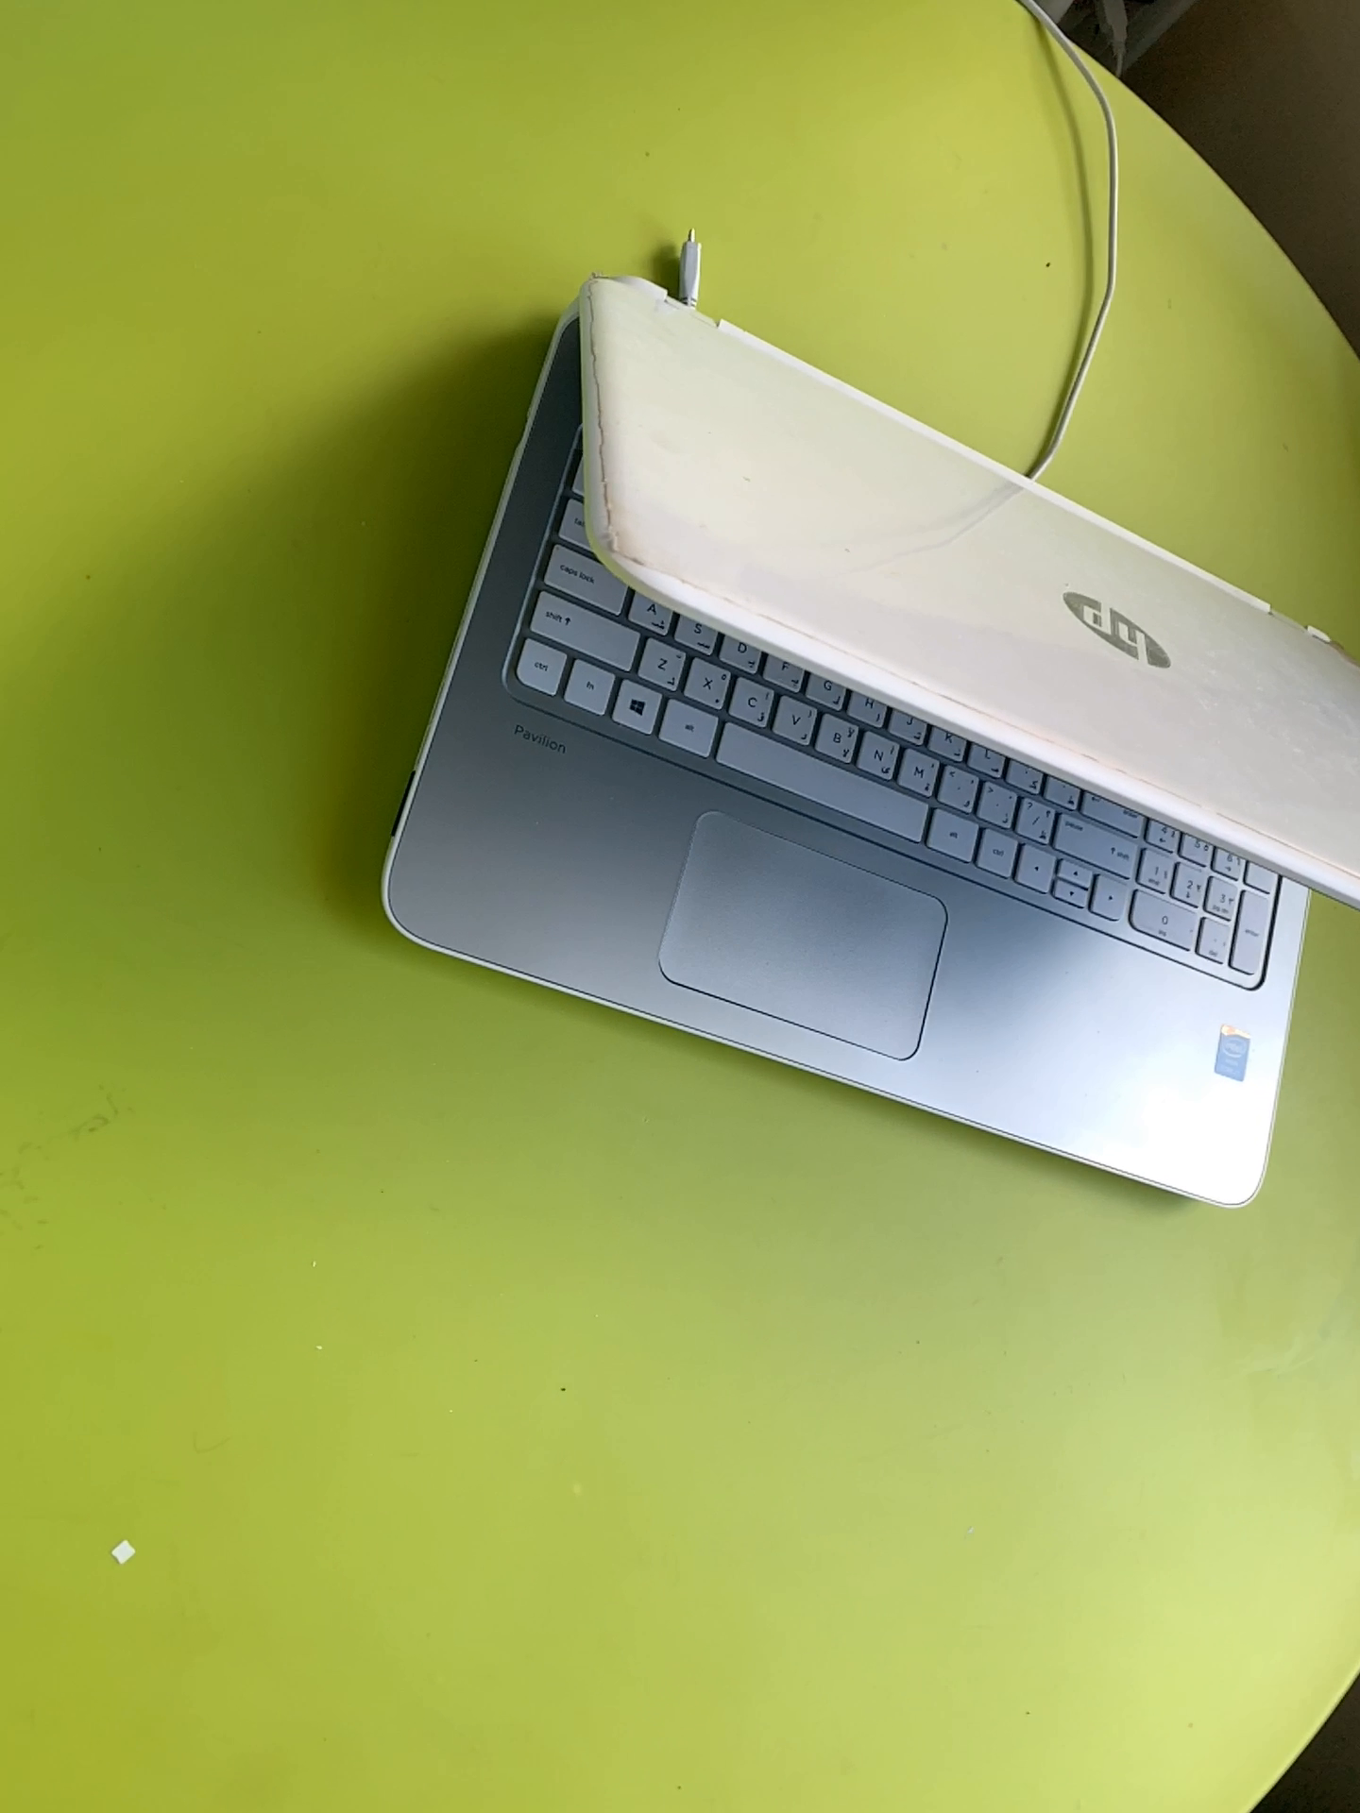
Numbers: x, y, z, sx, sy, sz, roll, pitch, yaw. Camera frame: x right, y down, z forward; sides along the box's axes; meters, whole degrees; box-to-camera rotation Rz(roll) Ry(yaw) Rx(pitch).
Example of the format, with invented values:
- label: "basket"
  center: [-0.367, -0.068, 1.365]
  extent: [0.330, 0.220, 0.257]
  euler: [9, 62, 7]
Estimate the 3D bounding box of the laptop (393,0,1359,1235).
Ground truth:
- label: "laptop"
  center: [0.133, -0.062, 0.461]
  extent: [0.368, 0.163, 0.243]
  euler: [20, 76, -20]
